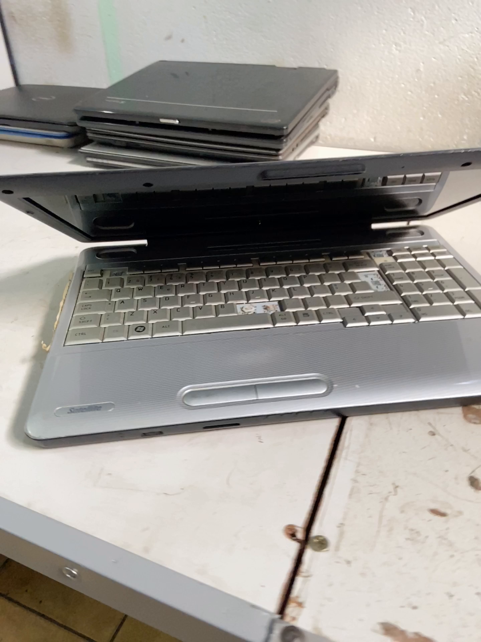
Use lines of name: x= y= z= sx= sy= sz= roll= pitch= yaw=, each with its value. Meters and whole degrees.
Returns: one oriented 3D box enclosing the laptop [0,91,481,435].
laptop: x=0.032 y=-0.076 z=0.399 sx=0.371 sy=0.143 sz=0.257 roll=-4 pitch=35 yaw=-6
